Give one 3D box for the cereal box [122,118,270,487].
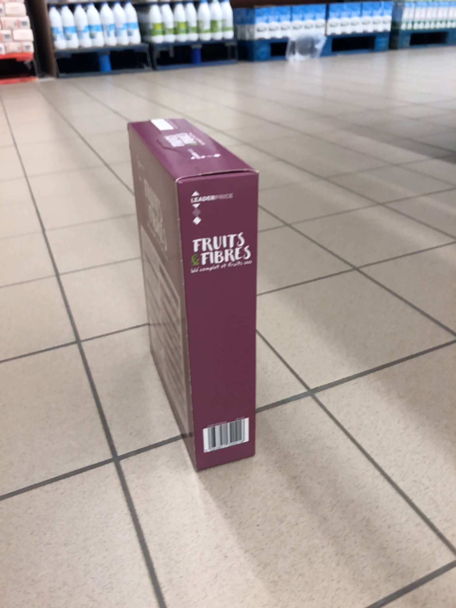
[{"bbox_3d":[-0.032,-0.014,0.455,0.060,0.259,0.211,-11,30,-16],"label":"cereal box"}]
